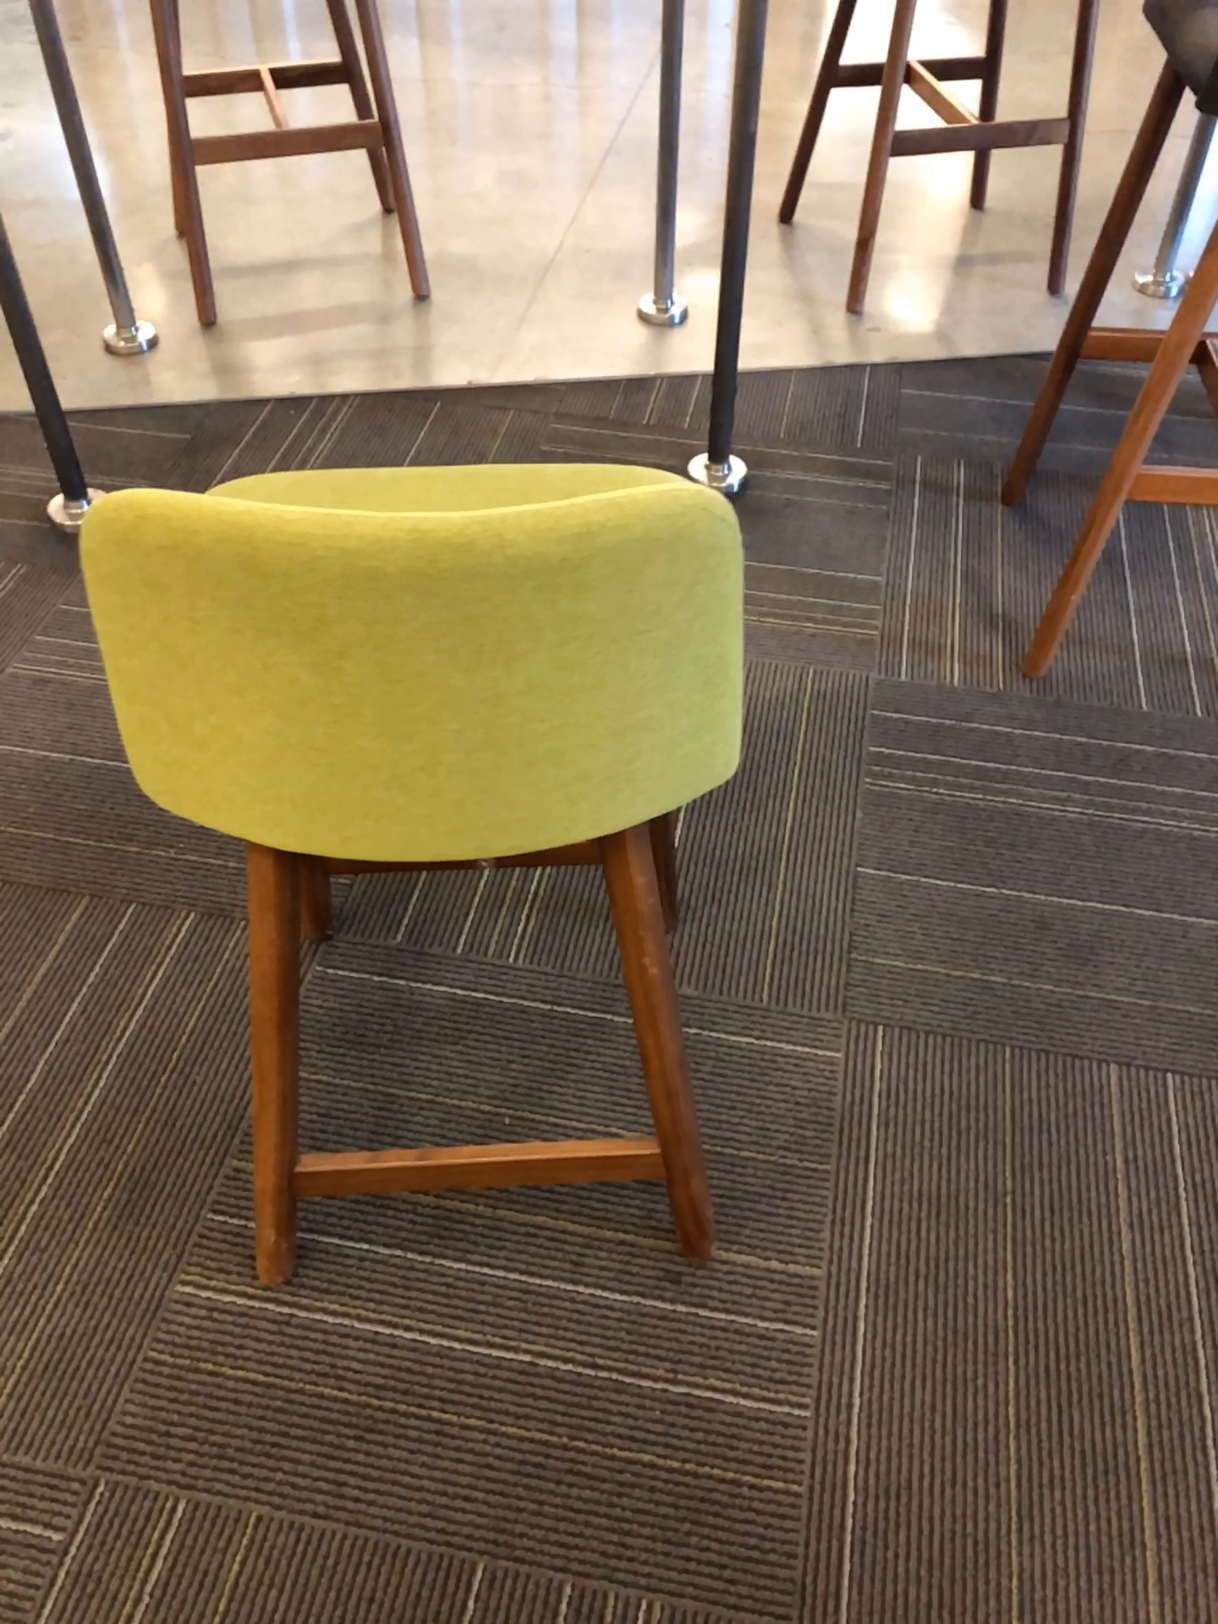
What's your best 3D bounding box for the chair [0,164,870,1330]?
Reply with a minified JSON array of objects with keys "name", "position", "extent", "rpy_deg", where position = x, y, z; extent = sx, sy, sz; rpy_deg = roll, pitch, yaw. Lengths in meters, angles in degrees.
[{"name":"chair","position":[-0.114,-0.004,1.162],"extent":[0.460,0.876,0.512],"rpy_deg":[-2,45,-2]}]
